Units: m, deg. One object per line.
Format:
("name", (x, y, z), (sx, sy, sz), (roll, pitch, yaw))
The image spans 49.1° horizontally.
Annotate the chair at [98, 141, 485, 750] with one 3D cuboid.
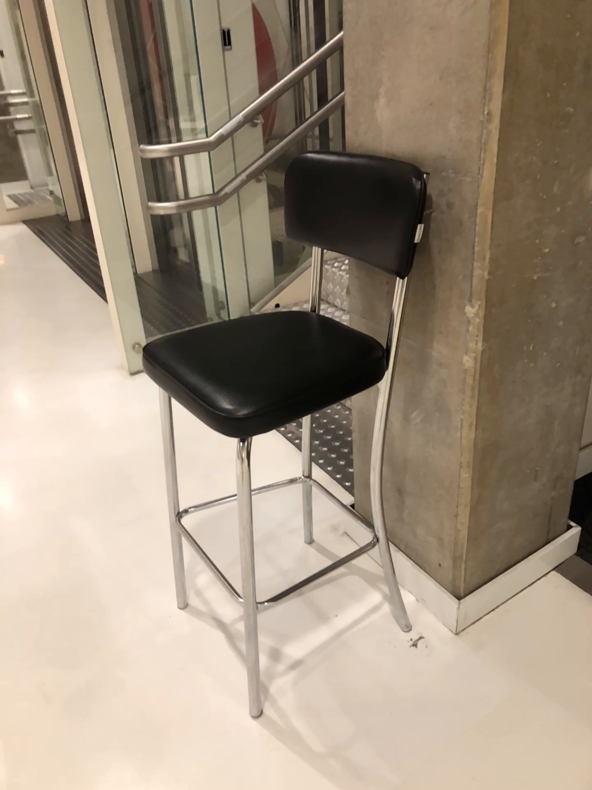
("chair", (0.003, 0.078, 1.253), (0.441, 0.983, 0.452), (-20, 32, -27))
